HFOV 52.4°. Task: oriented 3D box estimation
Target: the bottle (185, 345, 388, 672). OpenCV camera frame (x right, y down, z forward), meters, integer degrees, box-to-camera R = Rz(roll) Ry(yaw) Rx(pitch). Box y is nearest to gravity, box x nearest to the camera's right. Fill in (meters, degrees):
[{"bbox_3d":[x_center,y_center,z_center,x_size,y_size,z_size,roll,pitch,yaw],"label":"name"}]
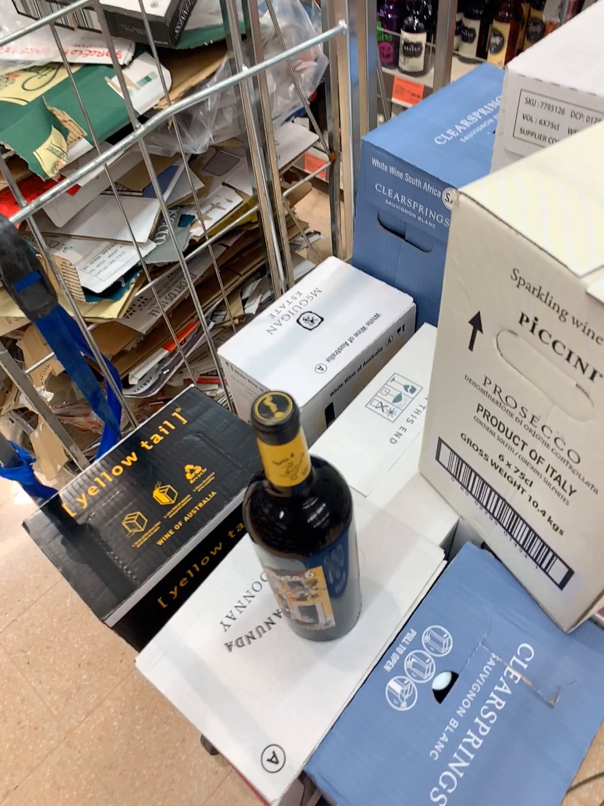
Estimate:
[{"bbox_3d":[0.002,0.099,0.446,0.078,0.295,0.077,-3,53,3],"label":"bottle"}]
